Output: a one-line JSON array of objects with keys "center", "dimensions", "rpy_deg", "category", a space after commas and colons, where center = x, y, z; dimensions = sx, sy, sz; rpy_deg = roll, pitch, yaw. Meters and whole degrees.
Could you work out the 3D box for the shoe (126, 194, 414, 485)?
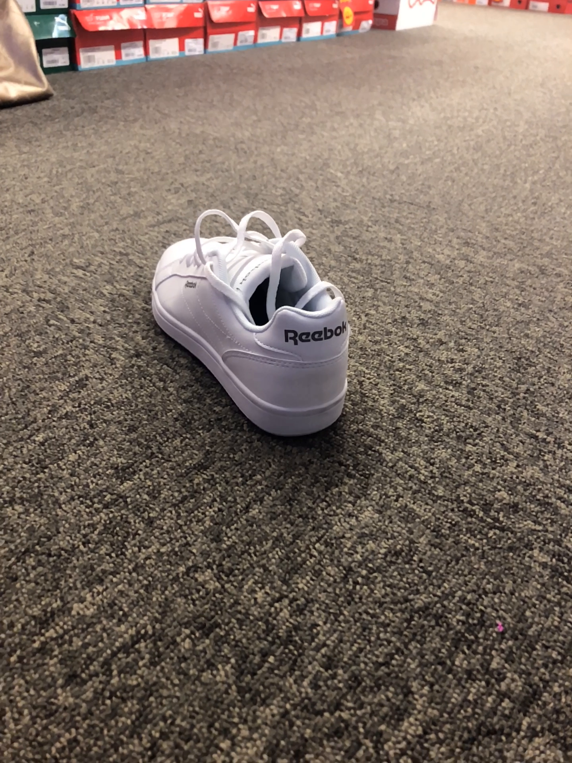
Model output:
[{"center": [-0.030, -0.053, 0.457], "dimensions": [0.100, 0.099, 0.261], "rpy_deg": [-13, 32, -22], "category": "shoe"}]
